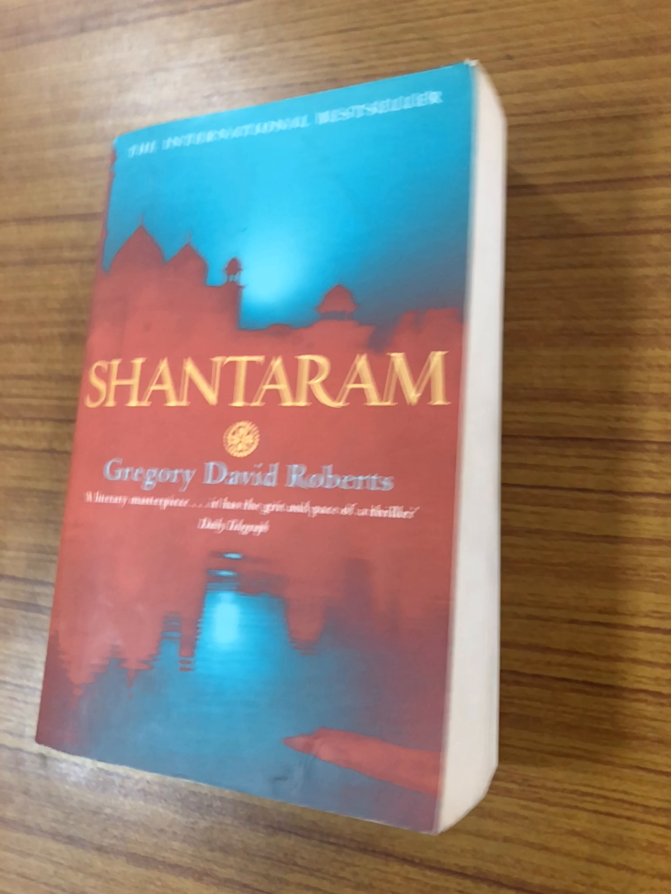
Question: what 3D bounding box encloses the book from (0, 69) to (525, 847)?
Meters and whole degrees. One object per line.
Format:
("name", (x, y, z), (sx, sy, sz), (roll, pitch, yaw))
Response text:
("book", (-0.023, 0.000, 0.232), (0.150, 0.050, 0.190), (0, 80, 21))
